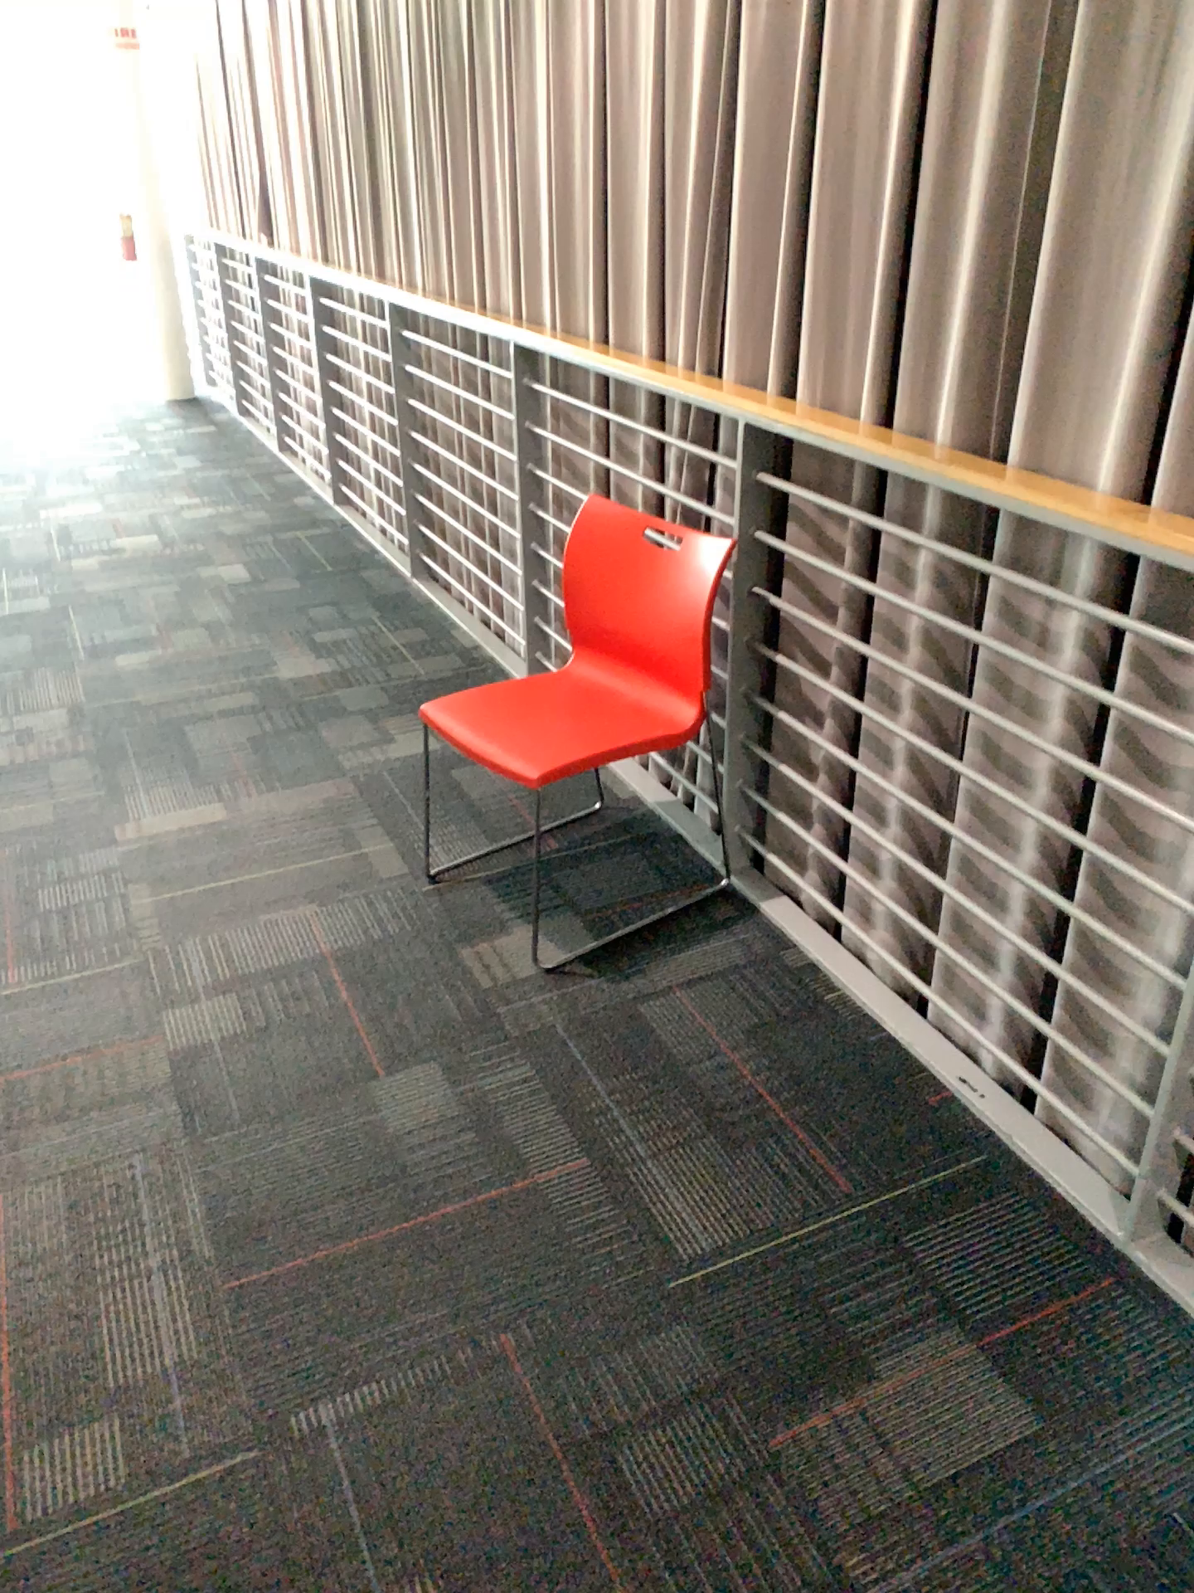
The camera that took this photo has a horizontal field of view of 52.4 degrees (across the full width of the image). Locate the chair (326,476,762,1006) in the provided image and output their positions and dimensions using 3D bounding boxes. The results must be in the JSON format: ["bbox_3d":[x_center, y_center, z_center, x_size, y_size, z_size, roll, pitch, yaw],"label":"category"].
[{"bbox_3d":[-0.099,-0.164,2.706,0.661,0.855,0.633,-22,34,-29],"label":"chair"}]
